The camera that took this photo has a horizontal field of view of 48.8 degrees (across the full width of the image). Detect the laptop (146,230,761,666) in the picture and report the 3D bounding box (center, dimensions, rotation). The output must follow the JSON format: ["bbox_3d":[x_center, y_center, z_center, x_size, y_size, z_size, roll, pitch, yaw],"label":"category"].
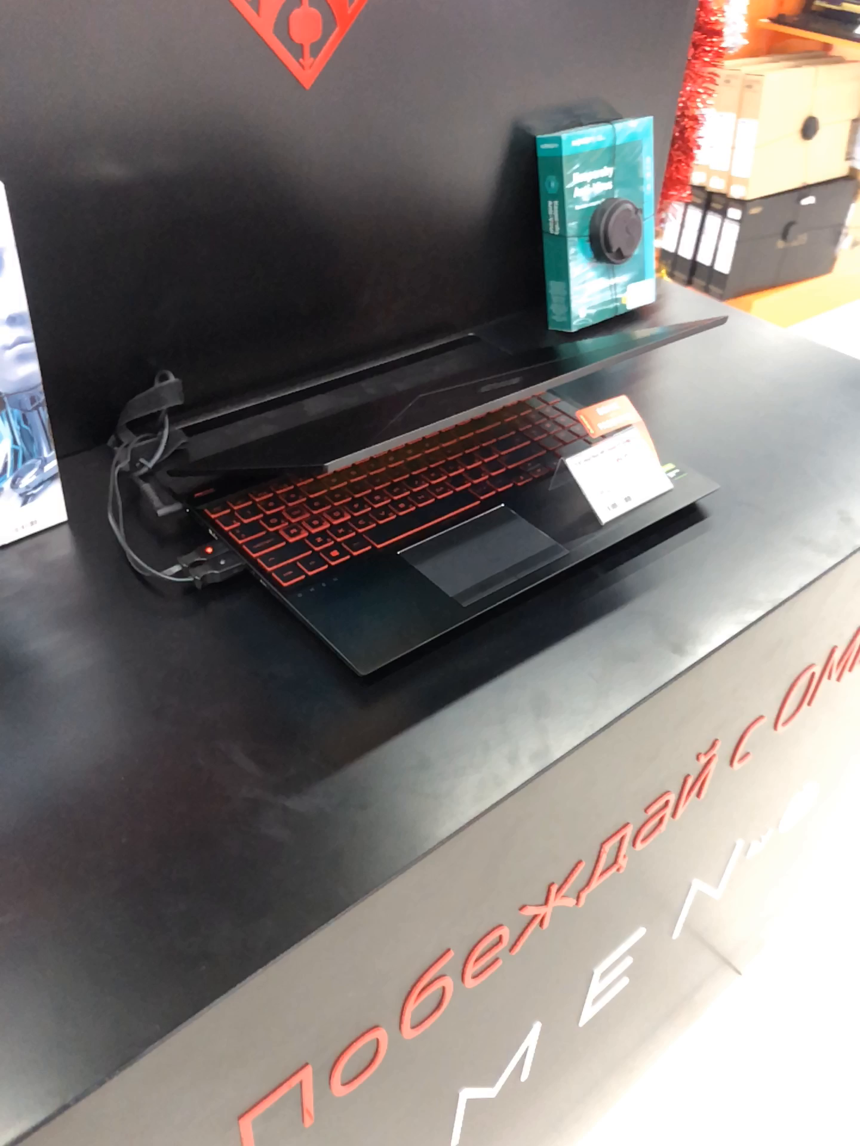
[{"bbox_3d":[0.020,-0.117,0.689,0.351,0.121,0.231,-25,48,-30],"label":"laptop"}]
